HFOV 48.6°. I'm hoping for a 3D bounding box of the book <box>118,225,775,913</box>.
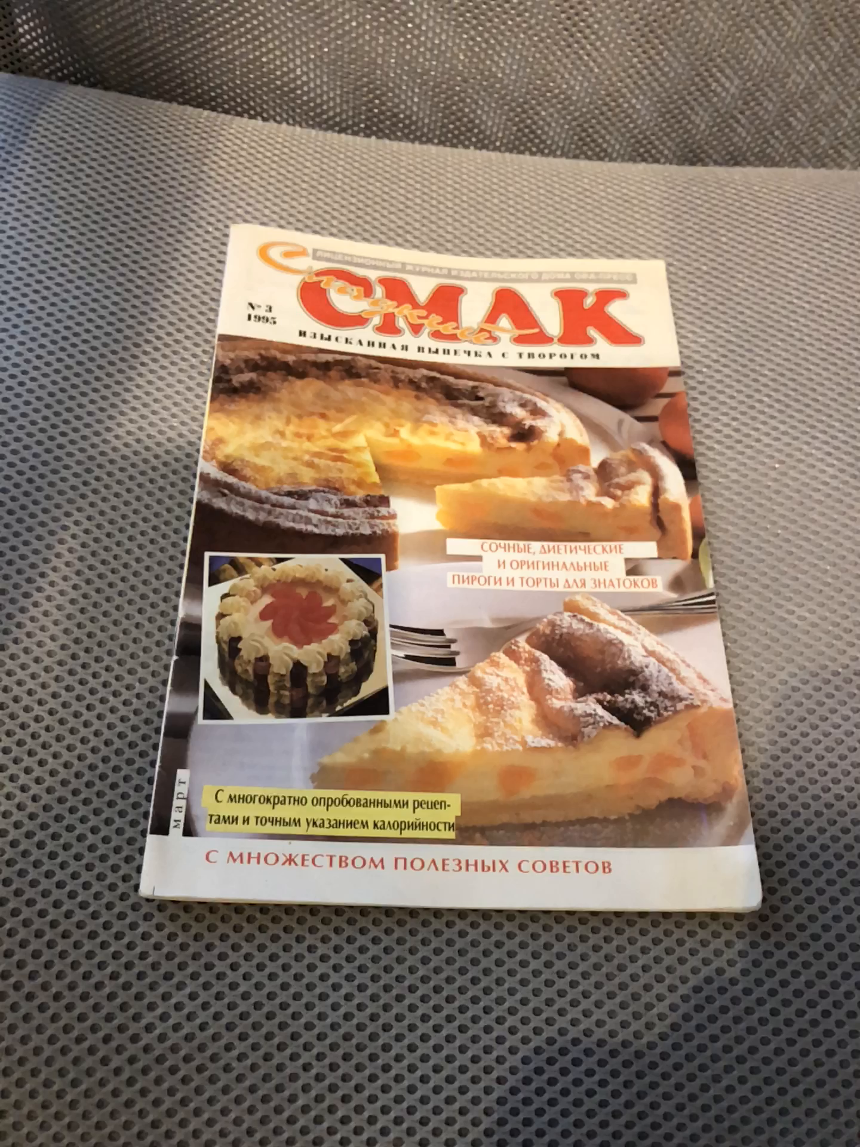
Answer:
[{"bbox_3d":[0.007,-0.015,0.304,0.174,0.010,0.232,2,65,-4],"label":"book"}]
